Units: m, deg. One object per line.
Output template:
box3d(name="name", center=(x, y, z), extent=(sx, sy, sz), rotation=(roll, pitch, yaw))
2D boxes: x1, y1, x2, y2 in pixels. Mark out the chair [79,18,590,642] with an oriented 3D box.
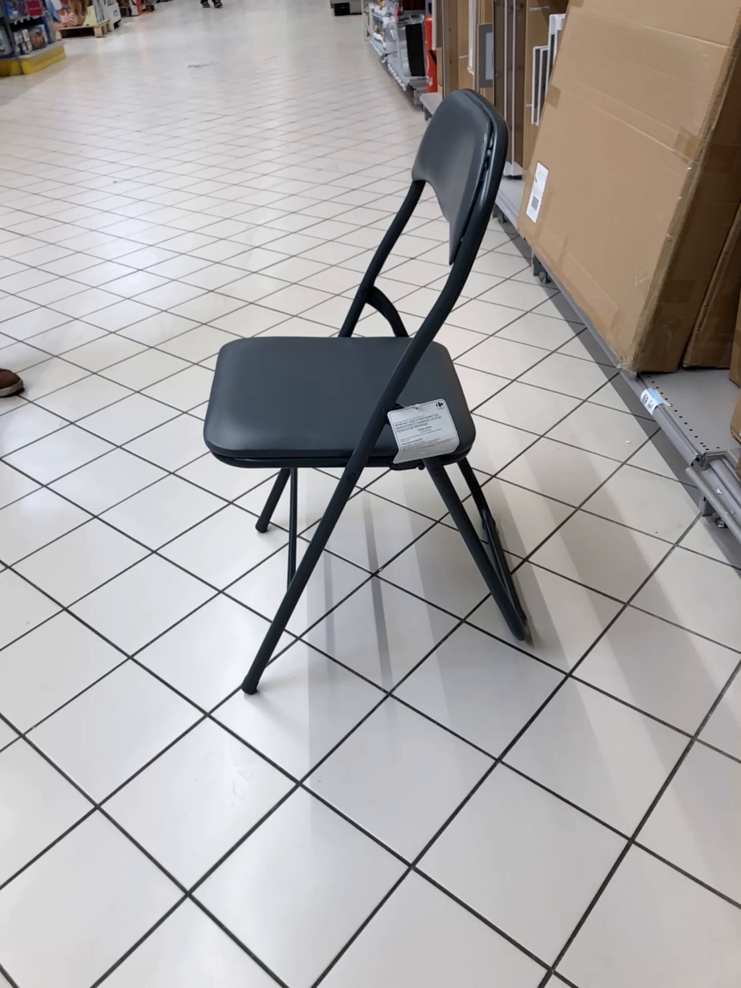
box3d(name="chair", center=(-0.025, -0.249, 1.238), extent=(0.500, 0.755, 0.553), rotation=(-2, 36, 1))
